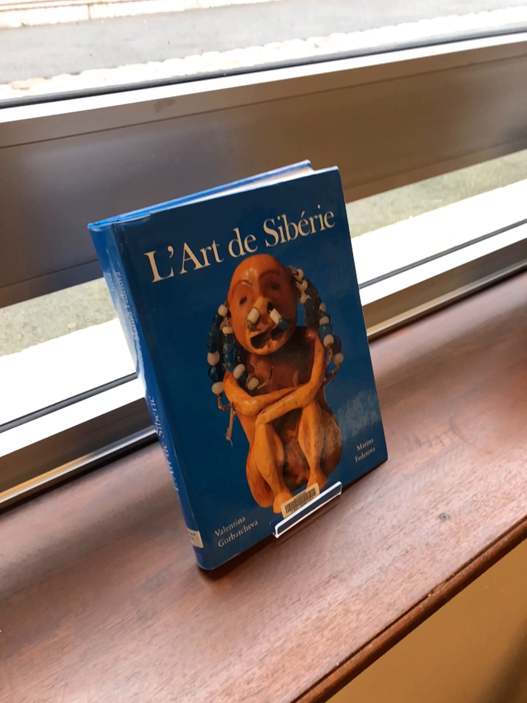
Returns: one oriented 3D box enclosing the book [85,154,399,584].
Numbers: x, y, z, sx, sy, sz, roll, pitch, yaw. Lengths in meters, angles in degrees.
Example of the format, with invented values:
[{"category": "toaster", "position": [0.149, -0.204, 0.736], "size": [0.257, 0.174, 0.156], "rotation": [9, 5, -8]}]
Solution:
[{"category": "book", "position": [0.005, 0.011, 0.575], "size": [0.255, 0.349, 0.044], "rotation": [-23, 21, -28]}]
